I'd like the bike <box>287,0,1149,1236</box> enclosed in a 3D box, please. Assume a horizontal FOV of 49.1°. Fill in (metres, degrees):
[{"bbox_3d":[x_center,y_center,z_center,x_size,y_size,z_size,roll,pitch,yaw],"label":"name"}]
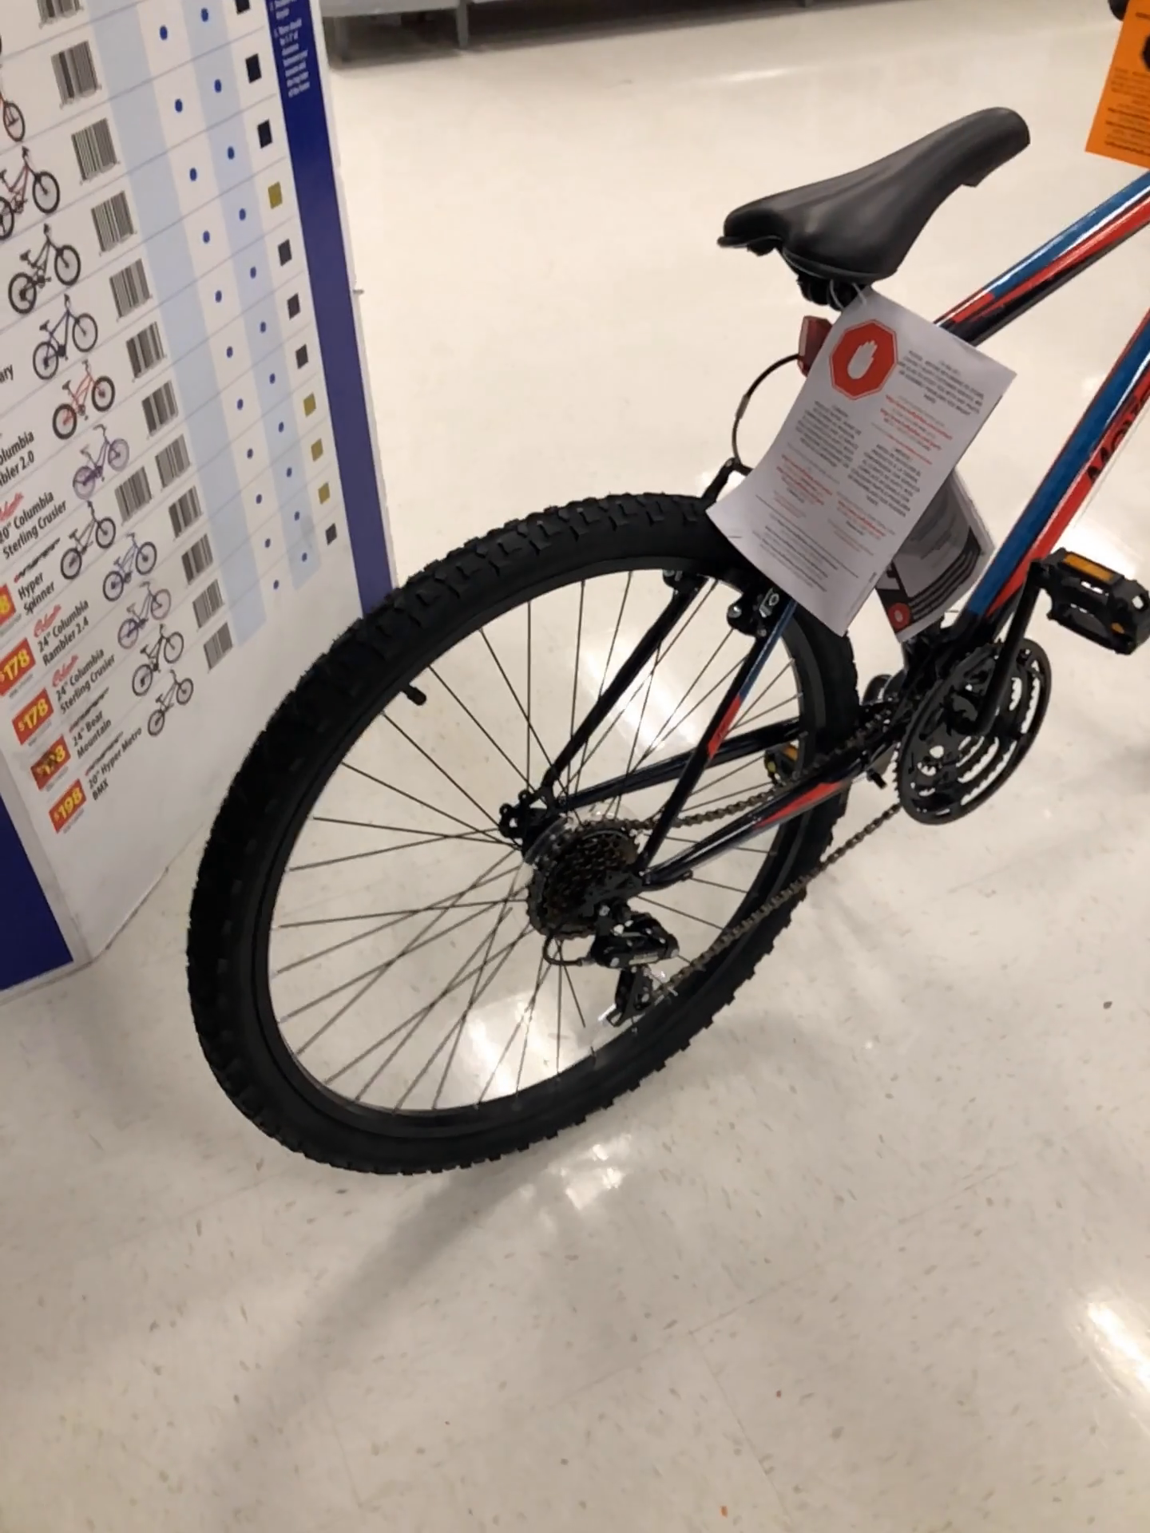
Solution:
[{"bbox_3d":[0.517,-0.337,1.223,1.287,0.942,0.561,-28,51,-24],"label":"bike"}]
